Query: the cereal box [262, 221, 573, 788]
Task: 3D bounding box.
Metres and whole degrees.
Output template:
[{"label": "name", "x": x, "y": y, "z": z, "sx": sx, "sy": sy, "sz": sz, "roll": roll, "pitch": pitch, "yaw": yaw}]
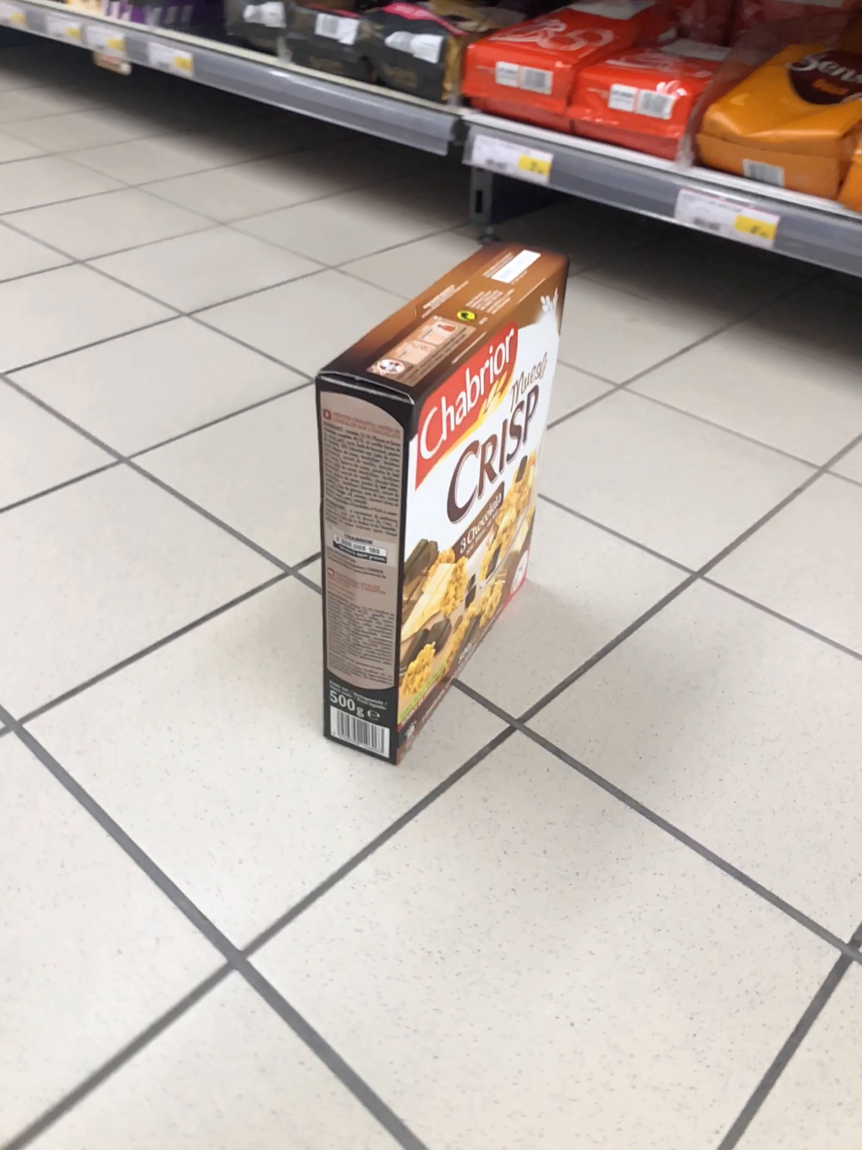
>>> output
[{"label": "cereal box", "x": 0.000, "y": -0.042, "z": 0.511, "sx": 0.060, "sy": 0.229, "sz": 0.201, "roll": 18, "pitch": 40, "yaw": 19}]
